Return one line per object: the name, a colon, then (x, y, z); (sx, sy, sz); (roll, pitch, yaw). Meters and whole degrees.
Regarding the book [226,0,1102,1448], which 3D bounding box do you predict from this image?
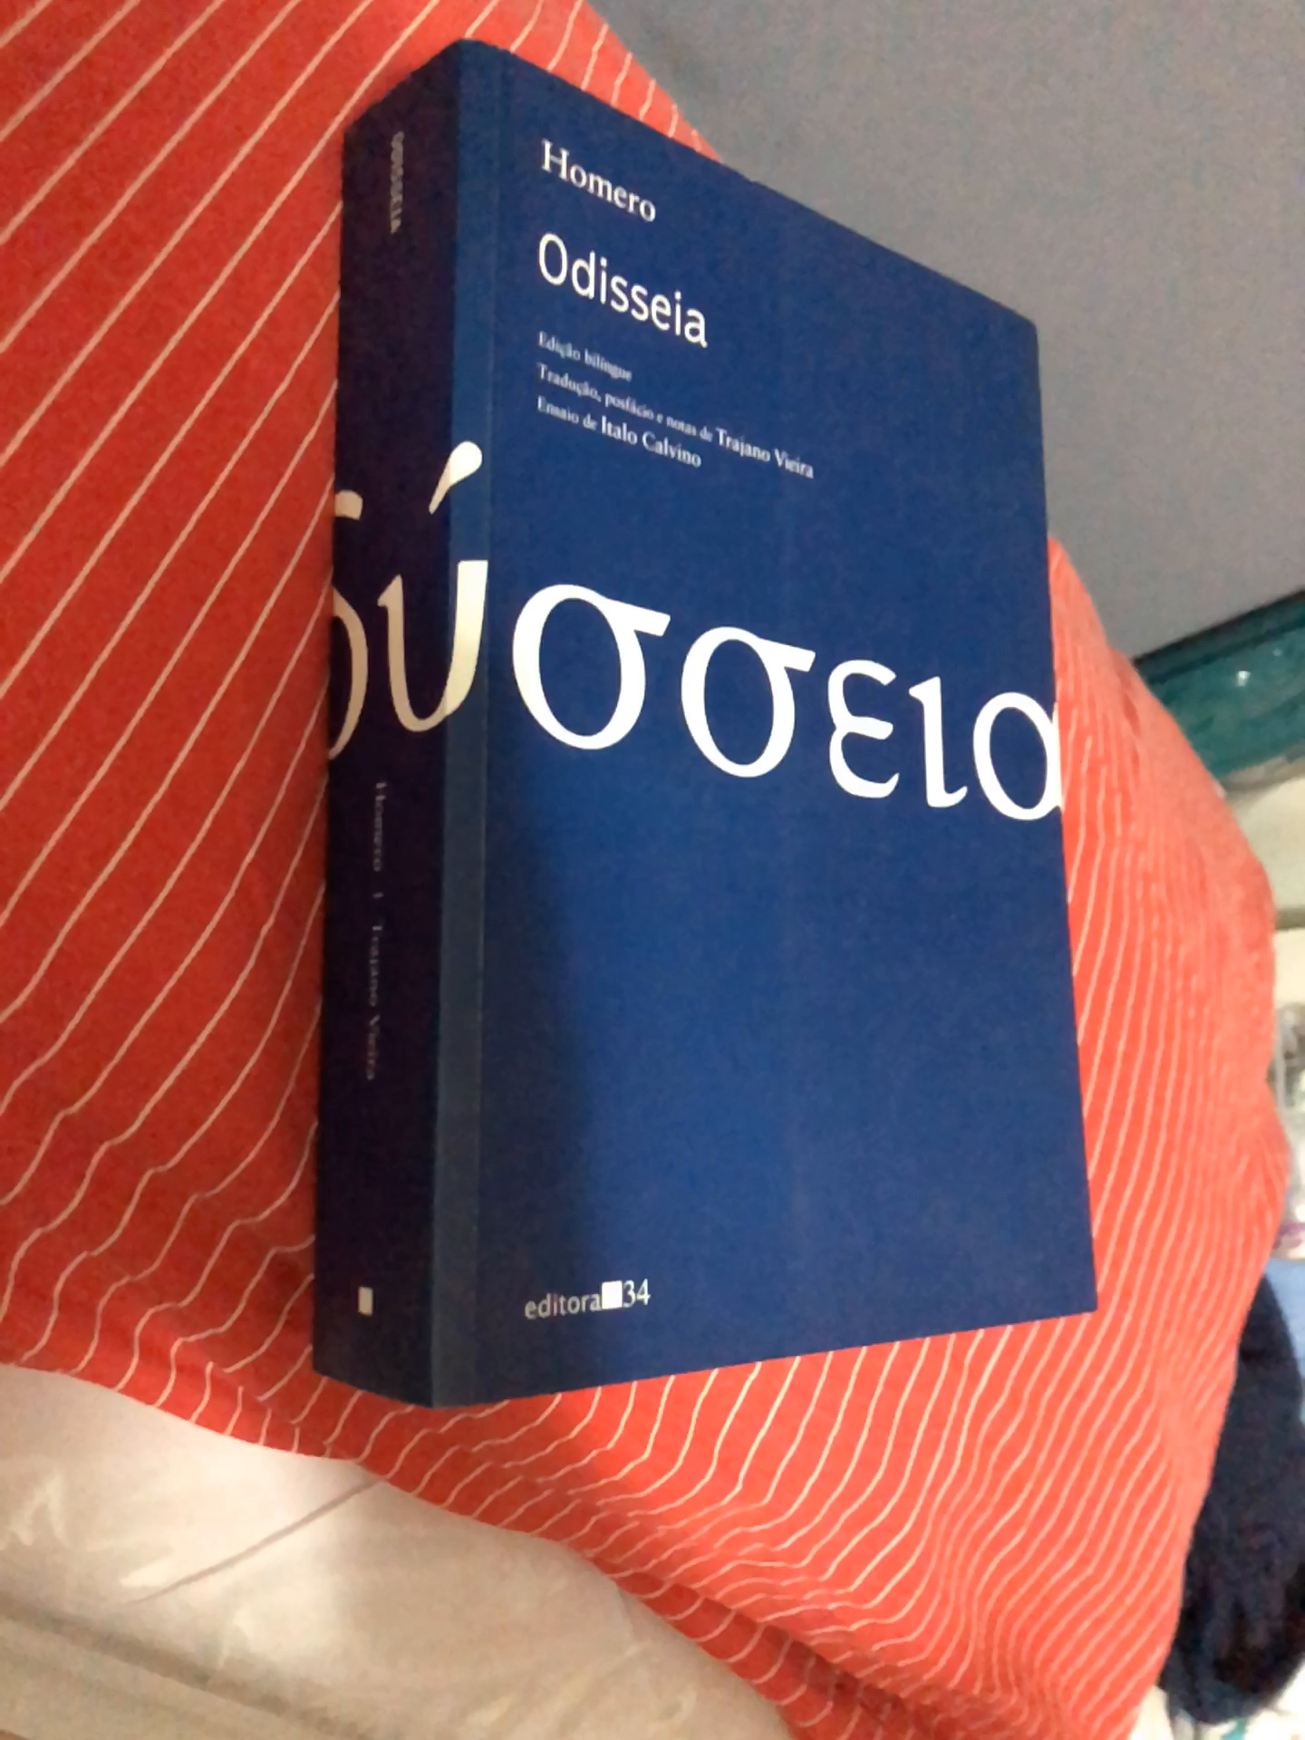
book: (0.011, -0.025, 0.284); (0.171, 0.040, 0.230); (6, 79, -36)
